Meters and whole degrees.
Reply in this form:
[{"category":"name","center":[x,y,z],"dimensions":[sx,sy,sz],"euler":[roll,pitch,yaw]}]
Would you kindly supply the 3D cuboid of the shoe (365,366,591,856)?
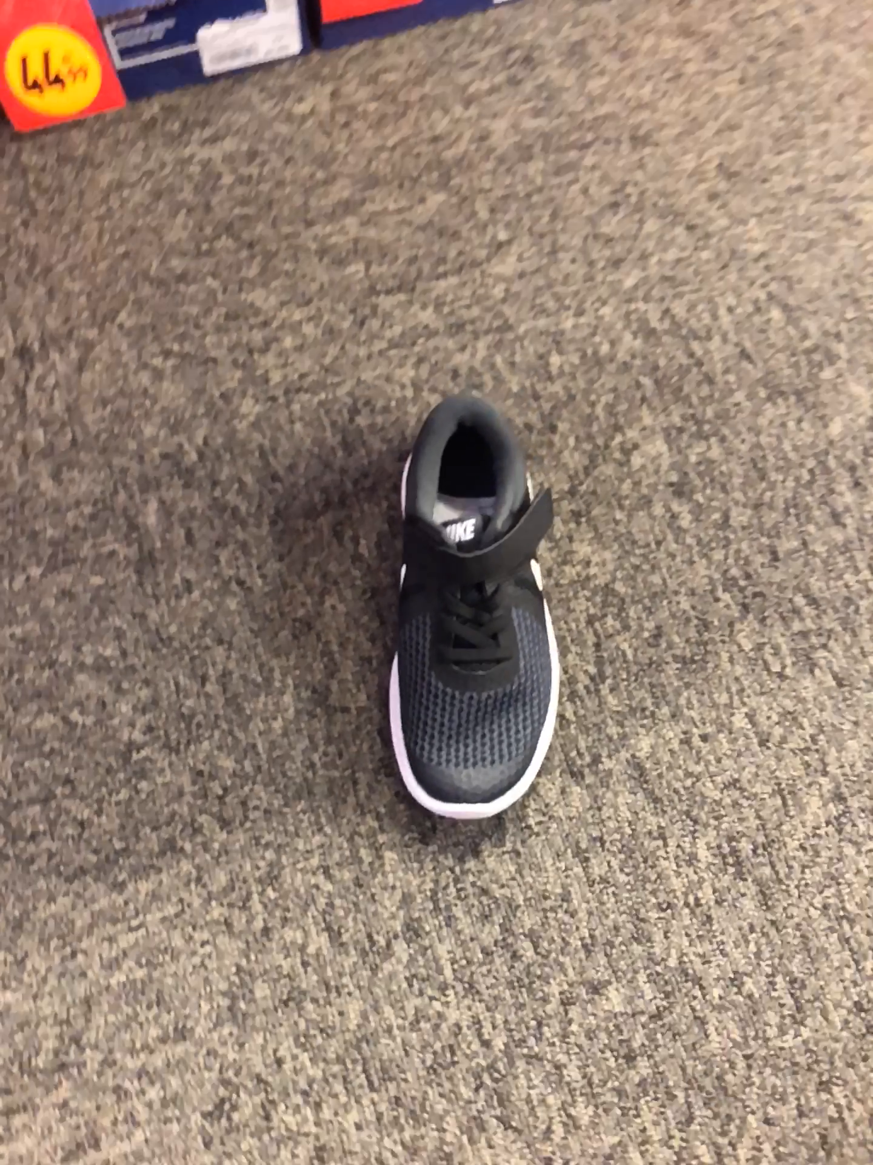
[{"category":"shoe","center":[0.014,0.015,0.460],"dimensions":[0.090,0.080,0.218],"euler":[-1,72,-2]}]
